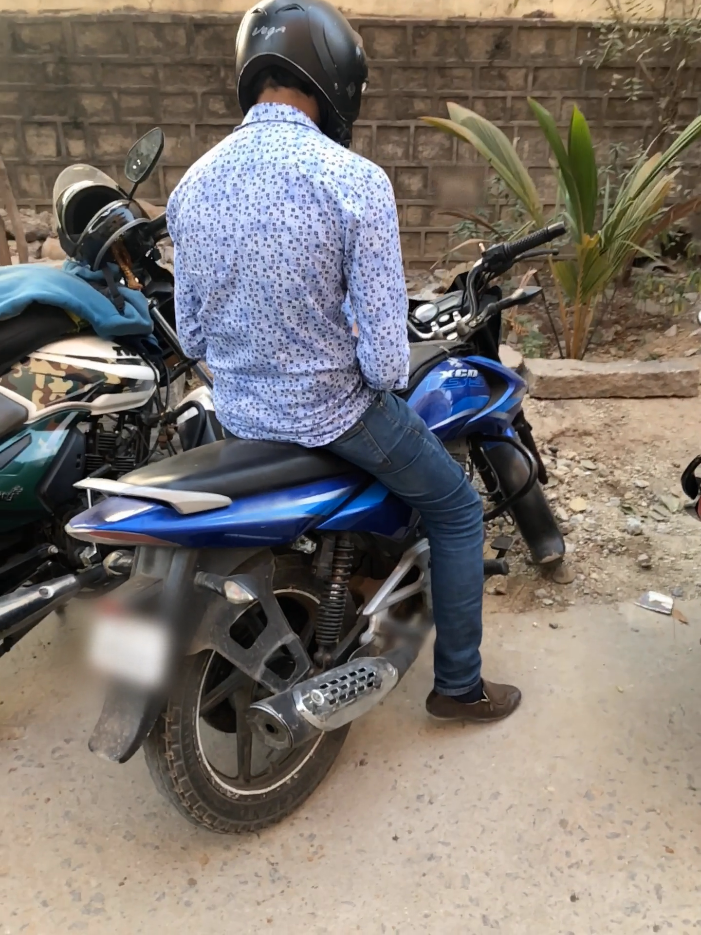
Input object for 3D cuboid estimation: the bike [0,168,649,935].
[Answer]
[{"bbox_3d":[0.059,-0.047,1.923,0.755,1.076,1.582,16,32,30],"label":"bike"}]
